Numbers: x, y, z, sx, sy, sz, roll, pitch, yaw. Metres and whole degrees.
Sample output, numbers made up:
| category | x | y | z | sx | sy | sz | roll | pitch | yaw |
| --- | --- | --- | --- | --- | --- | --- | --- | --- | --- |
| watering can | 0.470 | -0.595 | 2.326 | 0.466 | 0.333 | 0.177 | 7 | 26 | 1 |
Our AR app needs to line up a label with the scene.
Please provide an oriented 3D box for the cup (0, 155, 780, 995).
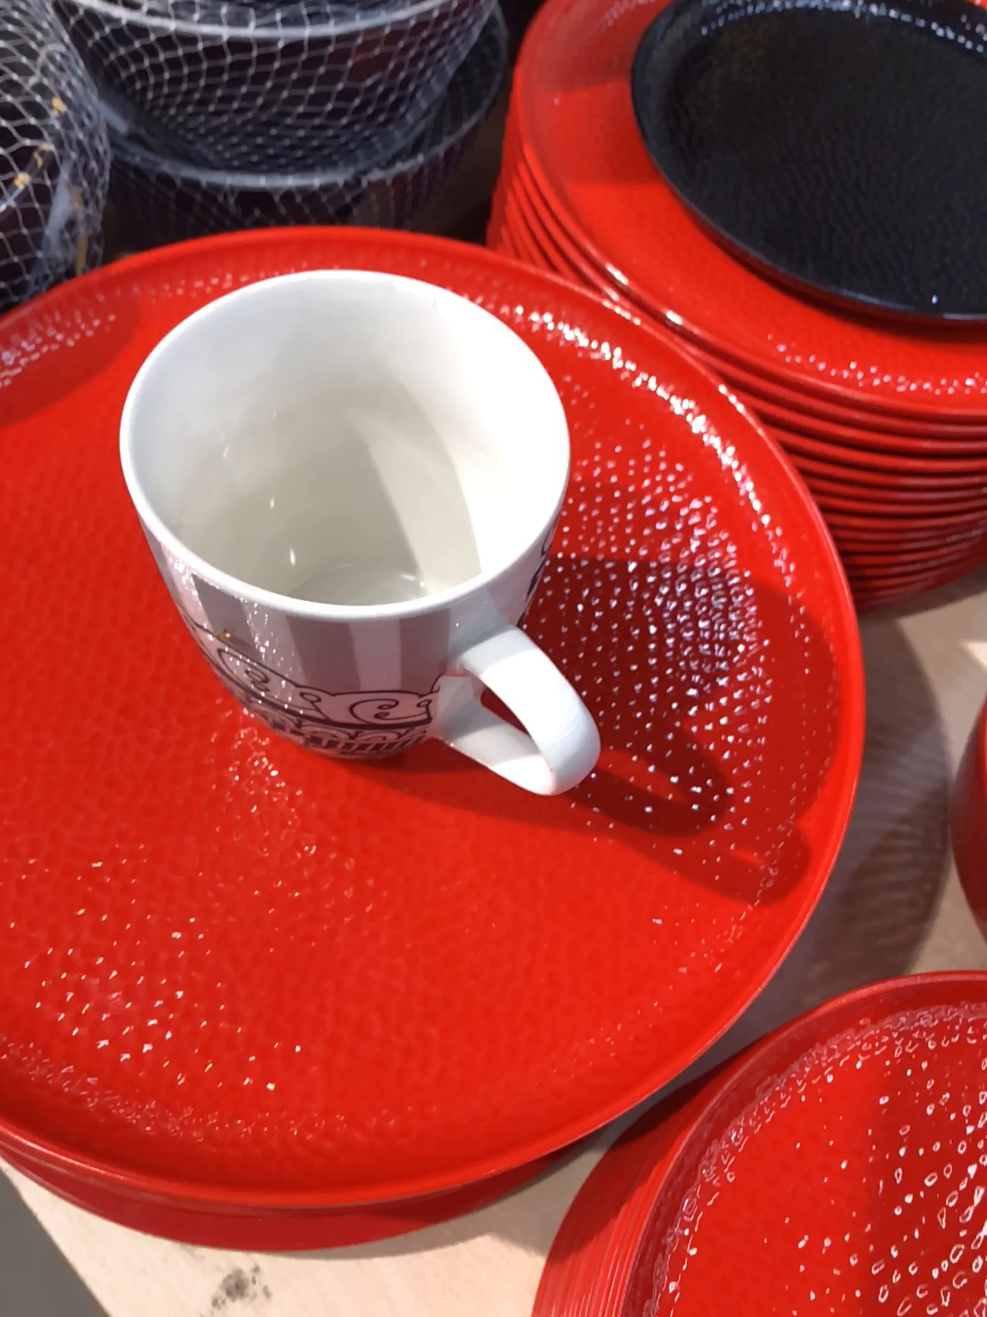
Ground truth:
| category | x | y | z | sx | sy | sz | roll | pitch | yaw |
| --- | --- | --- | --- | --- | --- | --- | --- | --- | --- |
| cup | -0.026 | -0.014 | 0.231 | 0.080 | 0.099 | 0.120 | -34 | 70 | -22 |
